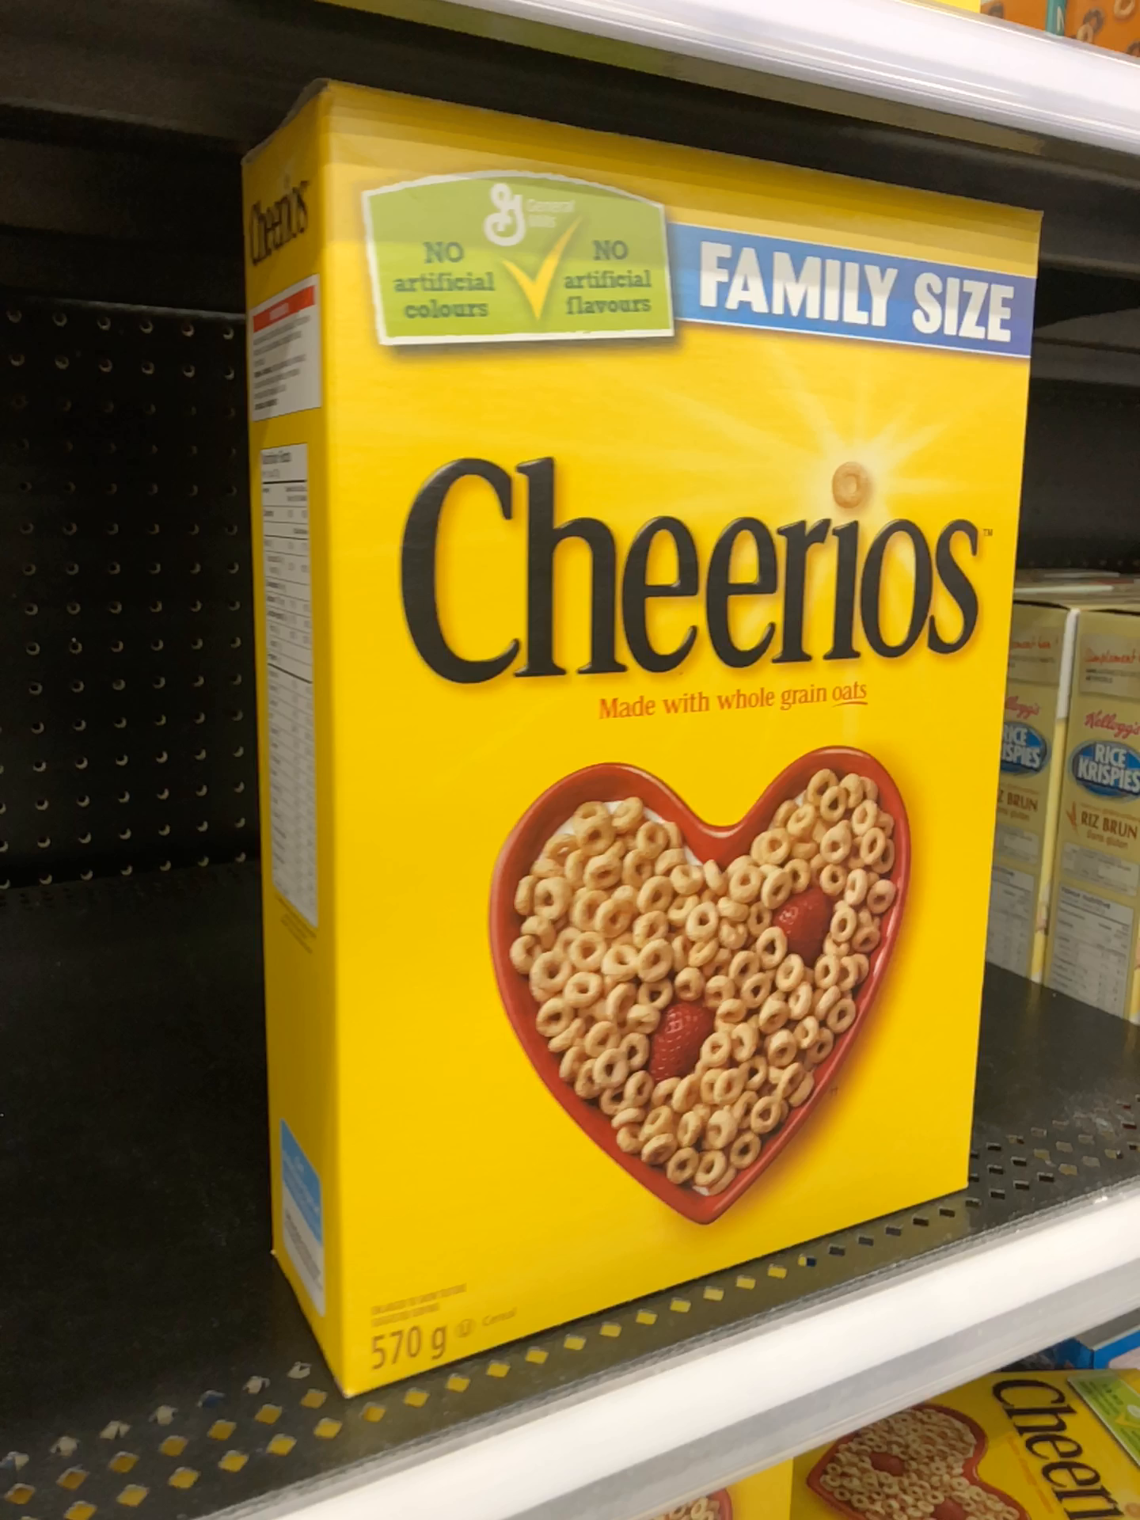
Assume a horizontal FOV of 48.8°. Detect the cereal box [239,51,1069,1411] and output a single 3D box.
[{"bbox_3d":[0.026,-0.008,0.408,0.240,0.339,0.090,-4,12,-31],"label":"cereal box"}]
